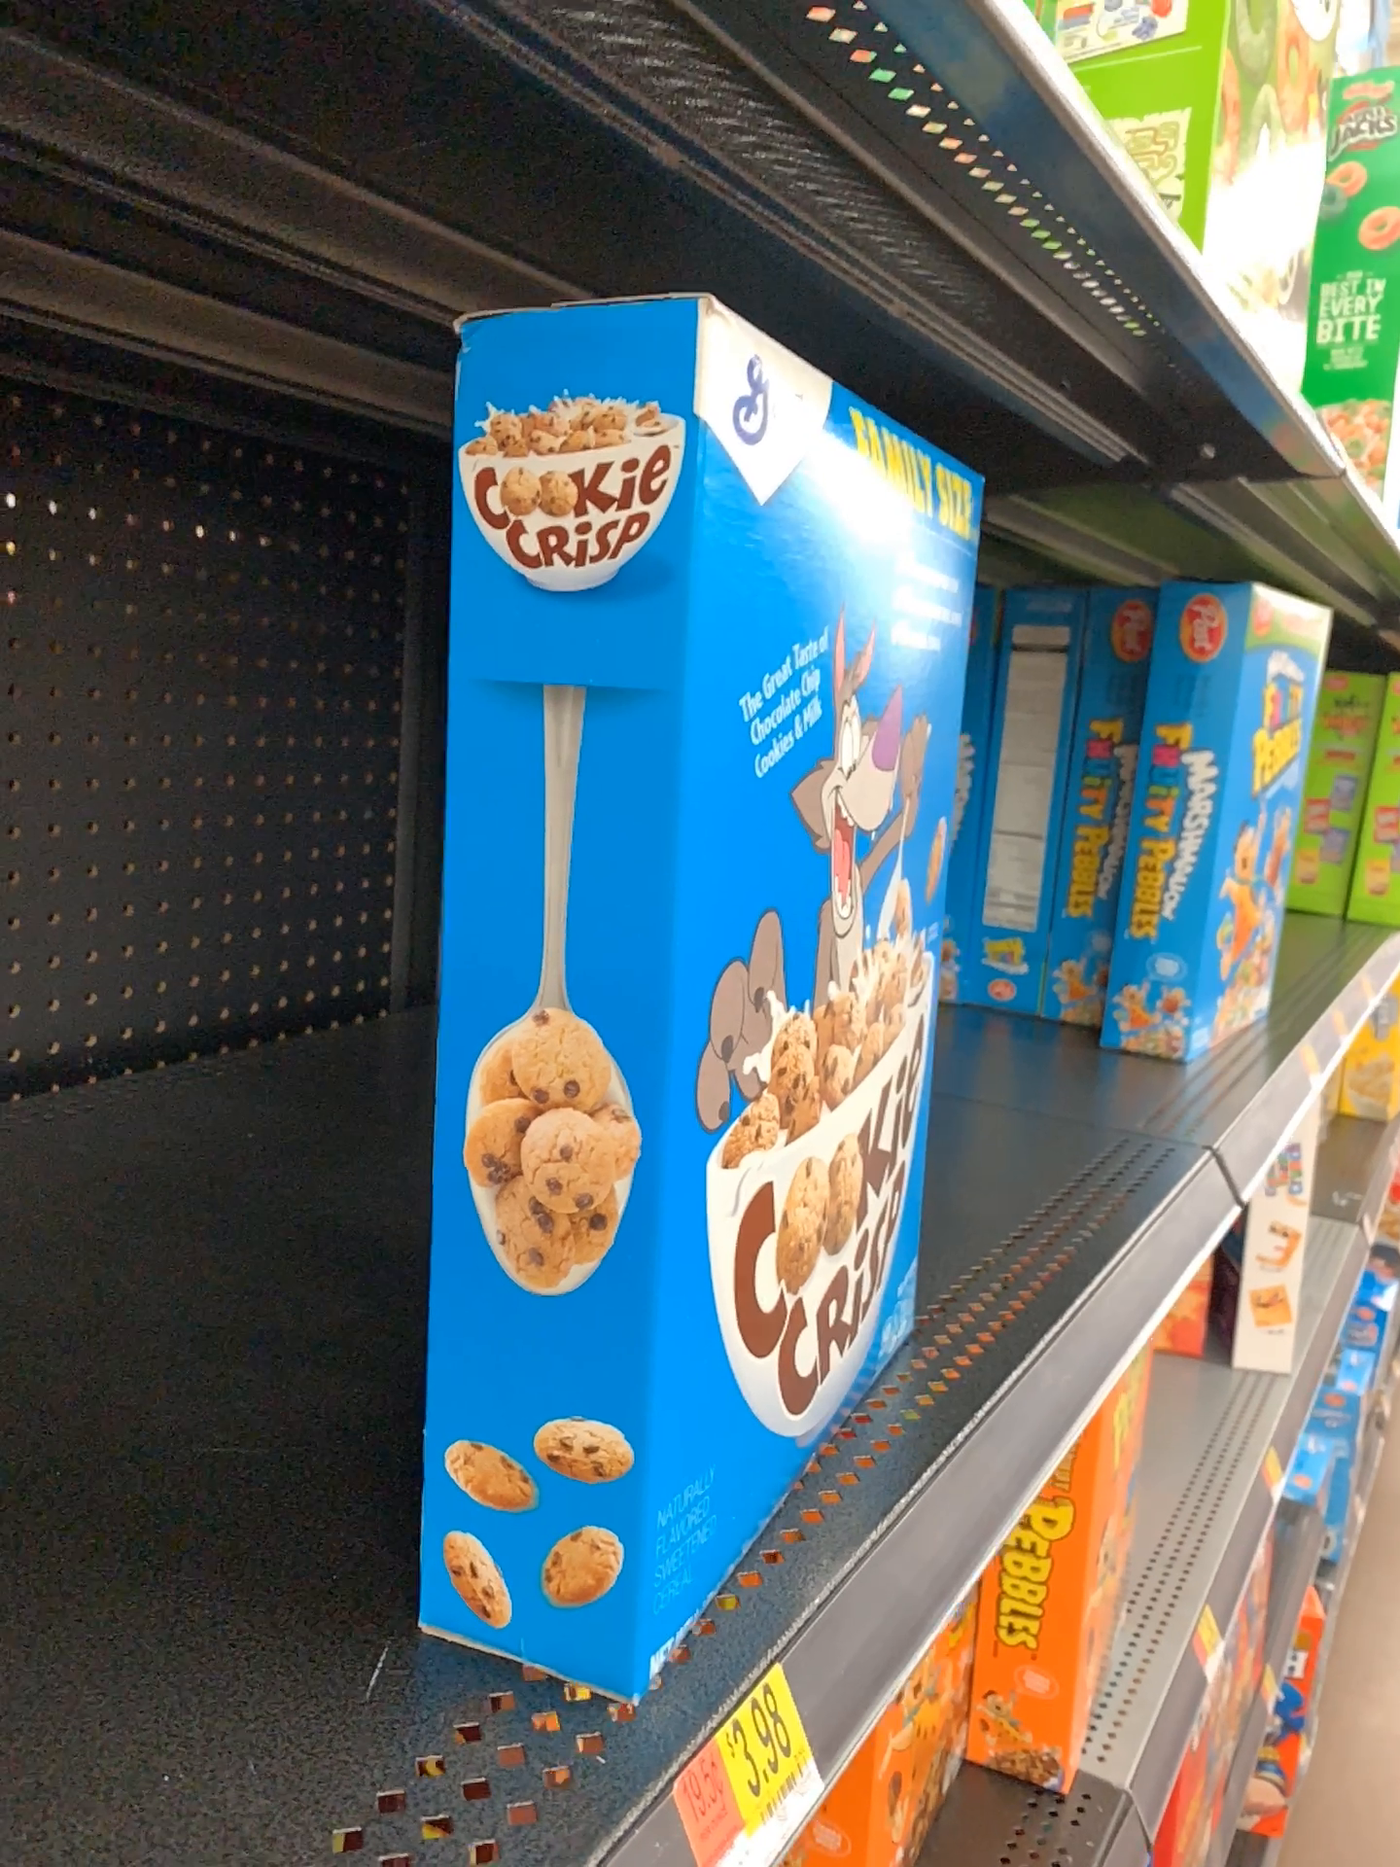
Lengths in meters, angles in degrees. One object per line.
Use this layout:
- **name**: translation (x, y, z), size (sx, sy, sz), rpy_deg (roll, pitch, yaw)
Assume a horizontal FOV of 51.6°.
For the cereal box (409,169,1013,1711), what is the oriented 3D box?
- **cereal box**: translation (0.018, -0.006, 0.439), size (0.070, 0.339, 0.251), rpy_deg (8, 12, 22)
